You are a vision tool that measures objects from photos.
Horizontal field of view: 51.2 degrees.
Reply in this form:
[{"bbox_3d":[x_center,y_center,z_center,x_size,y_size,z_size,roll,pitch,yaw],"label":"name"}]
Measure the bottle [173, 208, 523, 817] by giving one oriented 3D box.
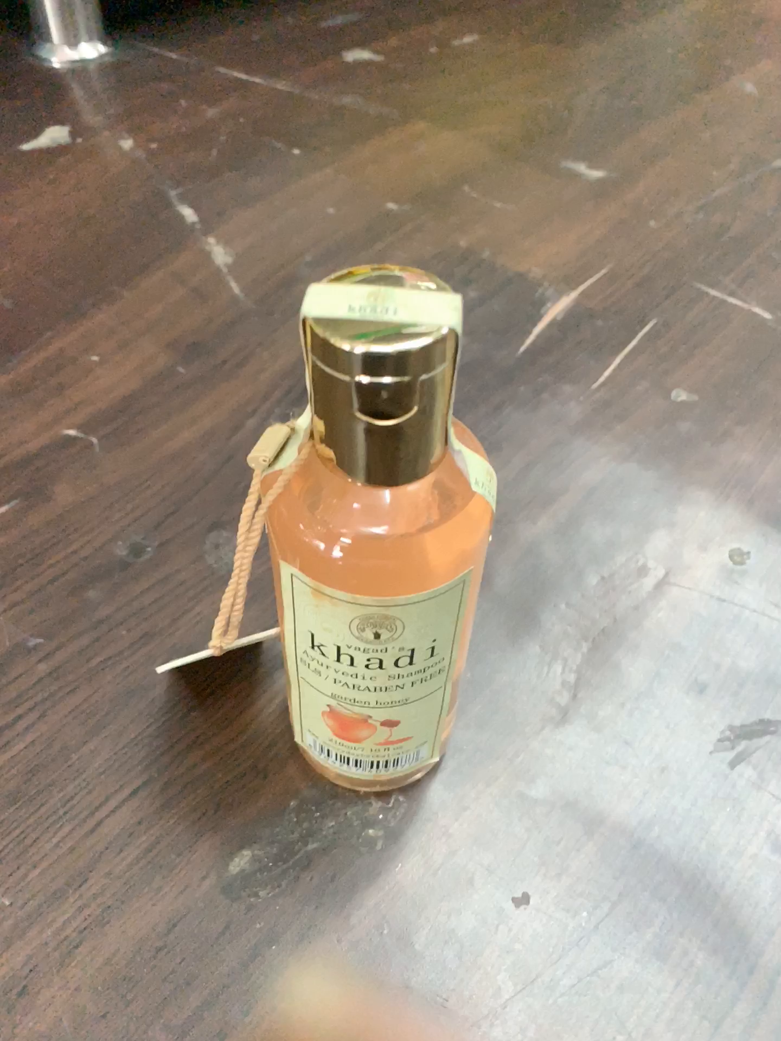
[{"bbox_3d":[-0.008,0.013,0.189,0.050,0.150,0.050,2,48,-2],"label":"bottle"}]
